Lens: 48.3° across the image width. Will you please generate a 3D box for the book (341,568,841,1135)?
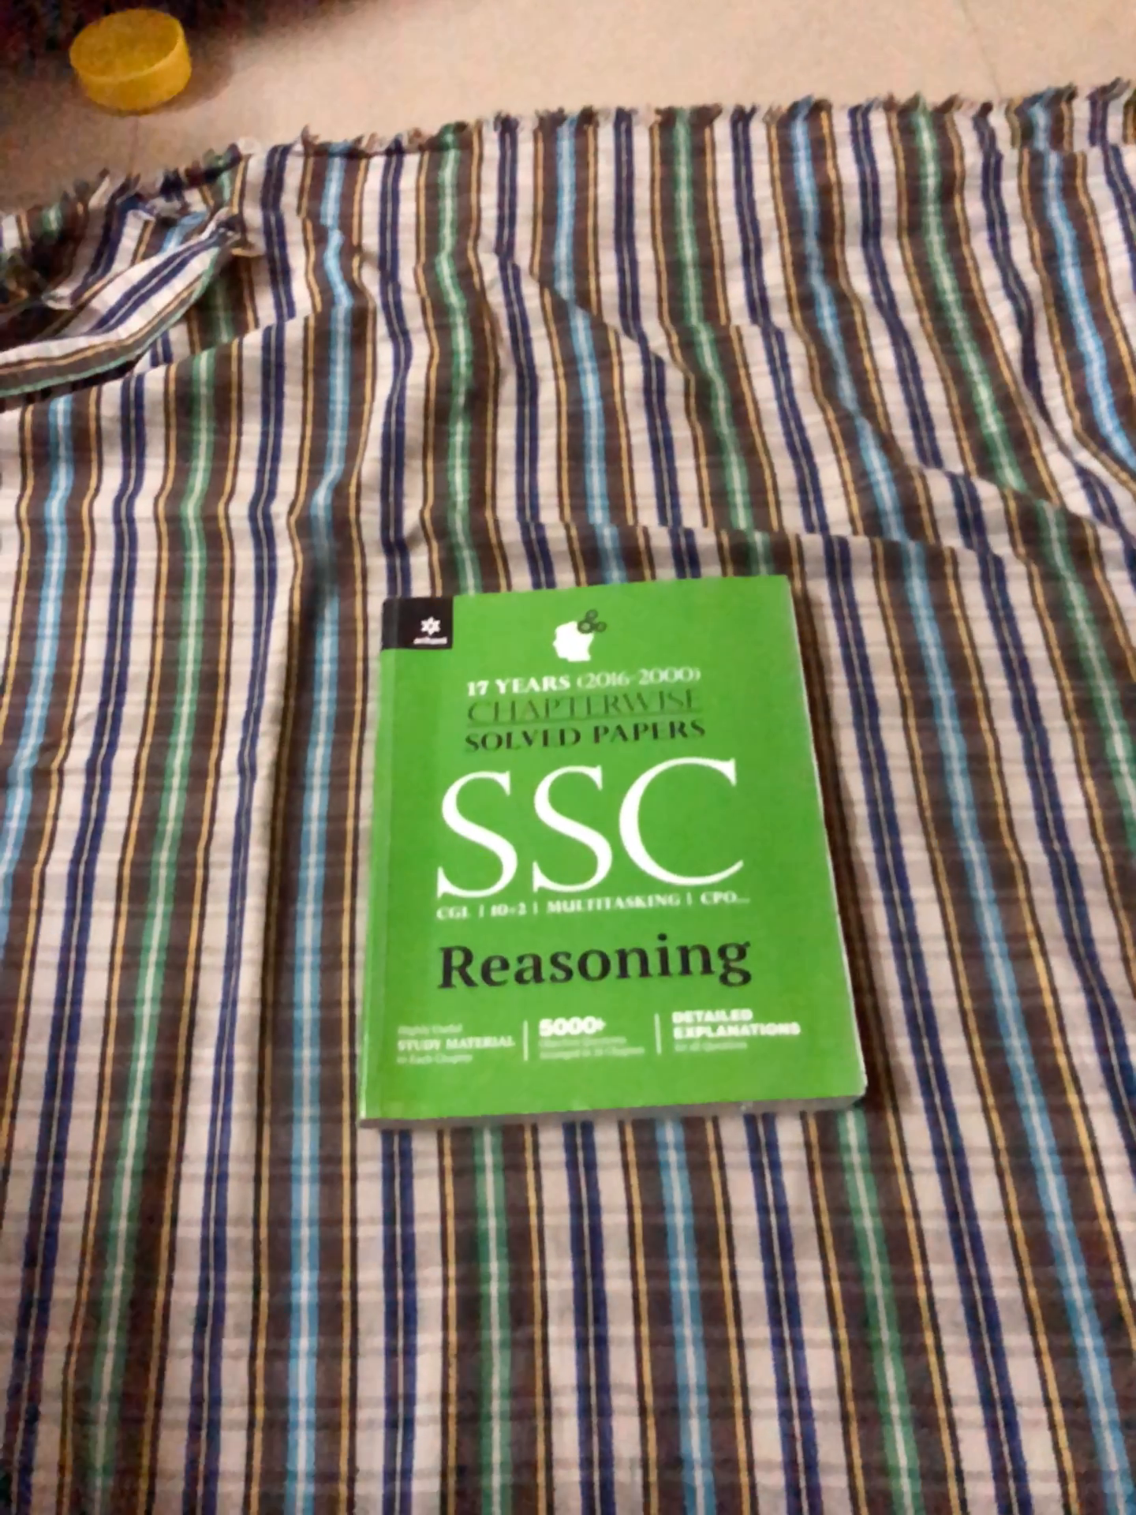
[{"bbox_3d":[0.006,0.036,0.611,0.210,0.040,0.270,-3,61,2],"label":"book"}]
